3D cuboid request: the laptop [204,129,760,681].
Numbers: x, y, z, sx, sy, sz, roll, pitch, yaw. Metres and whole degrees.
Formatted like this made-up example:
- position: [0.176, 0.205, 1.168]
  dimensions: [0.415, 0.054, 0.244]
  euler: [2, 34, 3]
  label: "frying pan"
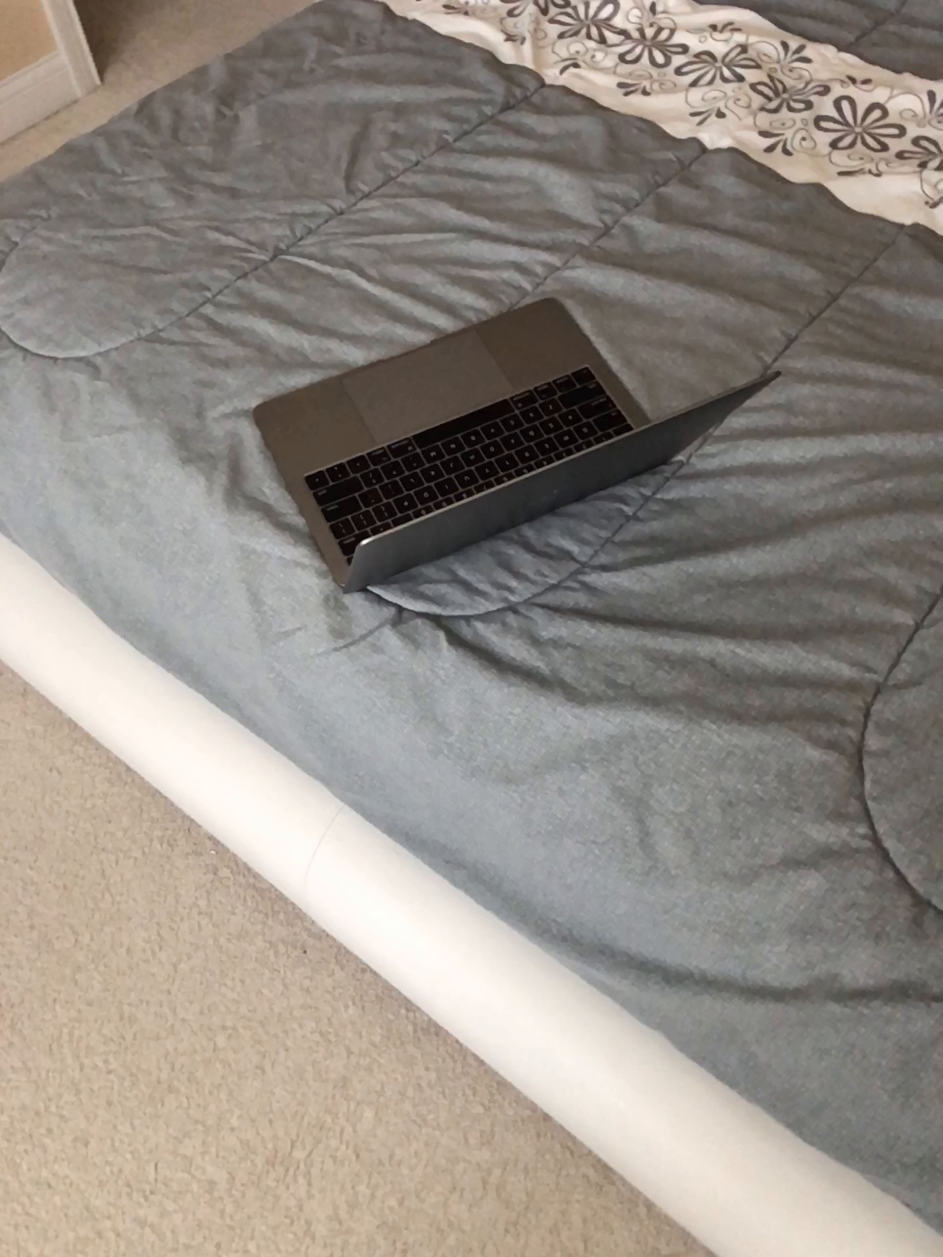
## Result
- position: [0.001, -0.172, 0.758]
  dimensions: [0.279, 0.159, 0.282]
  euler: [-23, 60, -11]
  label: "laptop"
